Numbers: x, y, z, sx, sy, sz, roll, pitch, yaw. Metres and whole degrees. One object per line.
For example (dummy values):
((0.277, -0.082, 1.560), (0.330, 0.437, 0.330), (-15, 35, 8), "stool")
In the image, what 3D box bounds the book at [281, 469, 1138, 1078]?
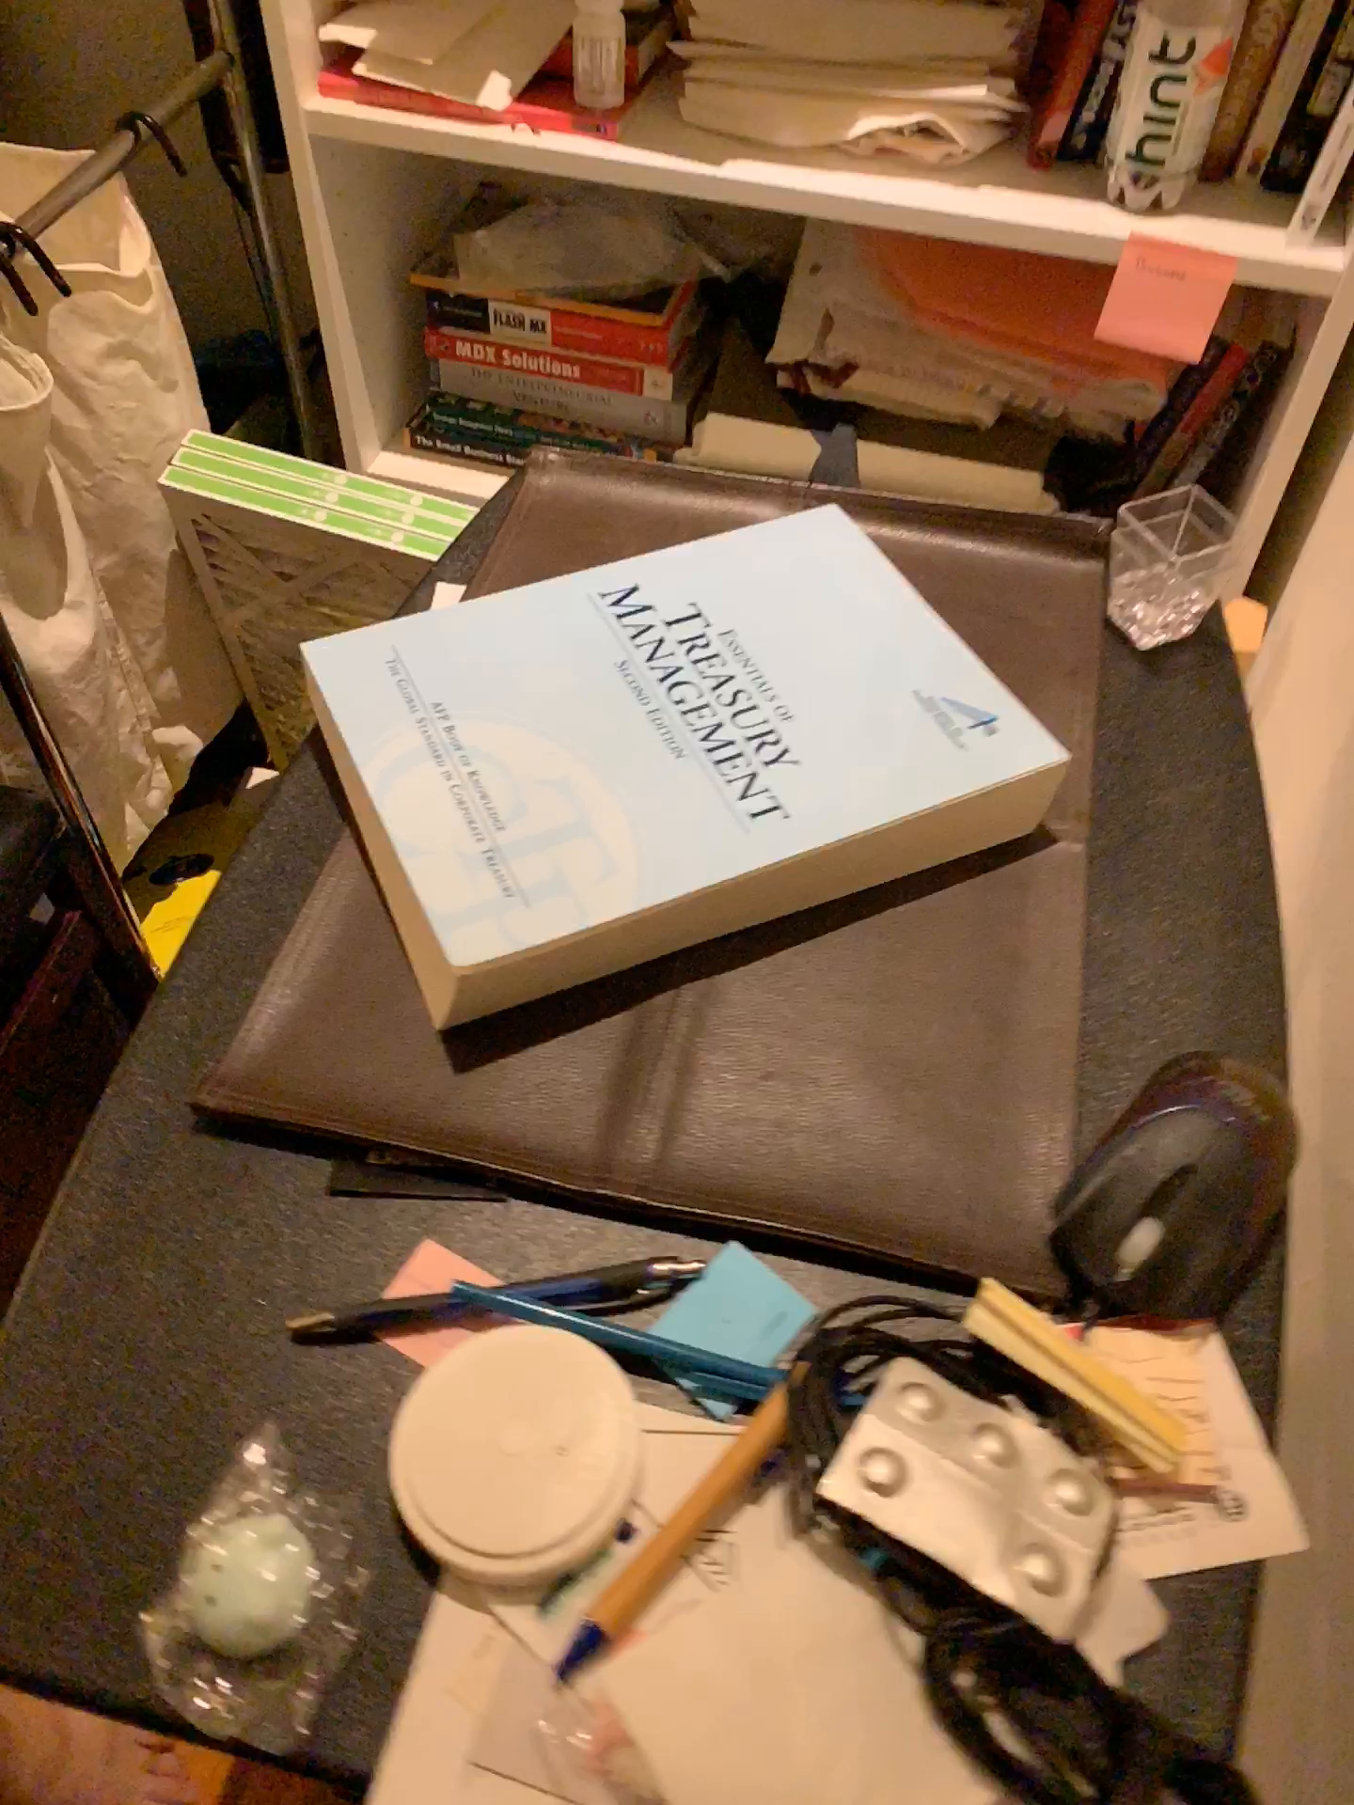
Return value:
((0.006, -0.075, 0.612), (0.300, 0.060, 0.221), (-18, 53, -16), "book")
